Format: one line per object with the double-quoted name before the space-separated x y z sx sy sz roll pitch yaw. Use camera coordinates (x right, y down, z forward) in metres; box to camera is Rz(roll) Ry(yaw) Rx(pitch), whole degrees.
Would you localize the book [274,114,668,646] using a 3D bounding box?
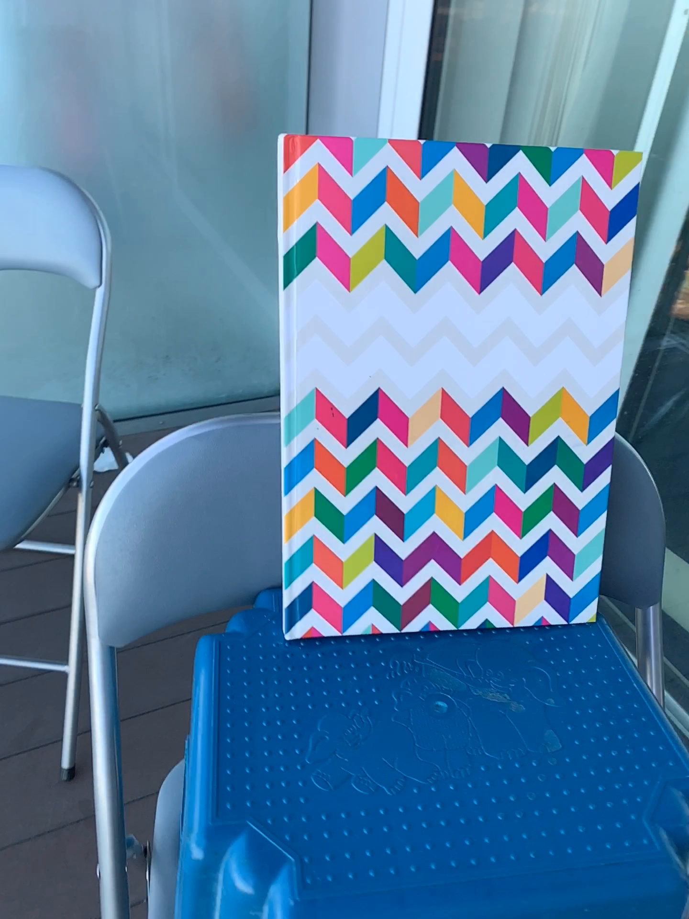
"book" 0.066 -0.037 0.414 0.211 0.289 0.030 -1 13 -8
